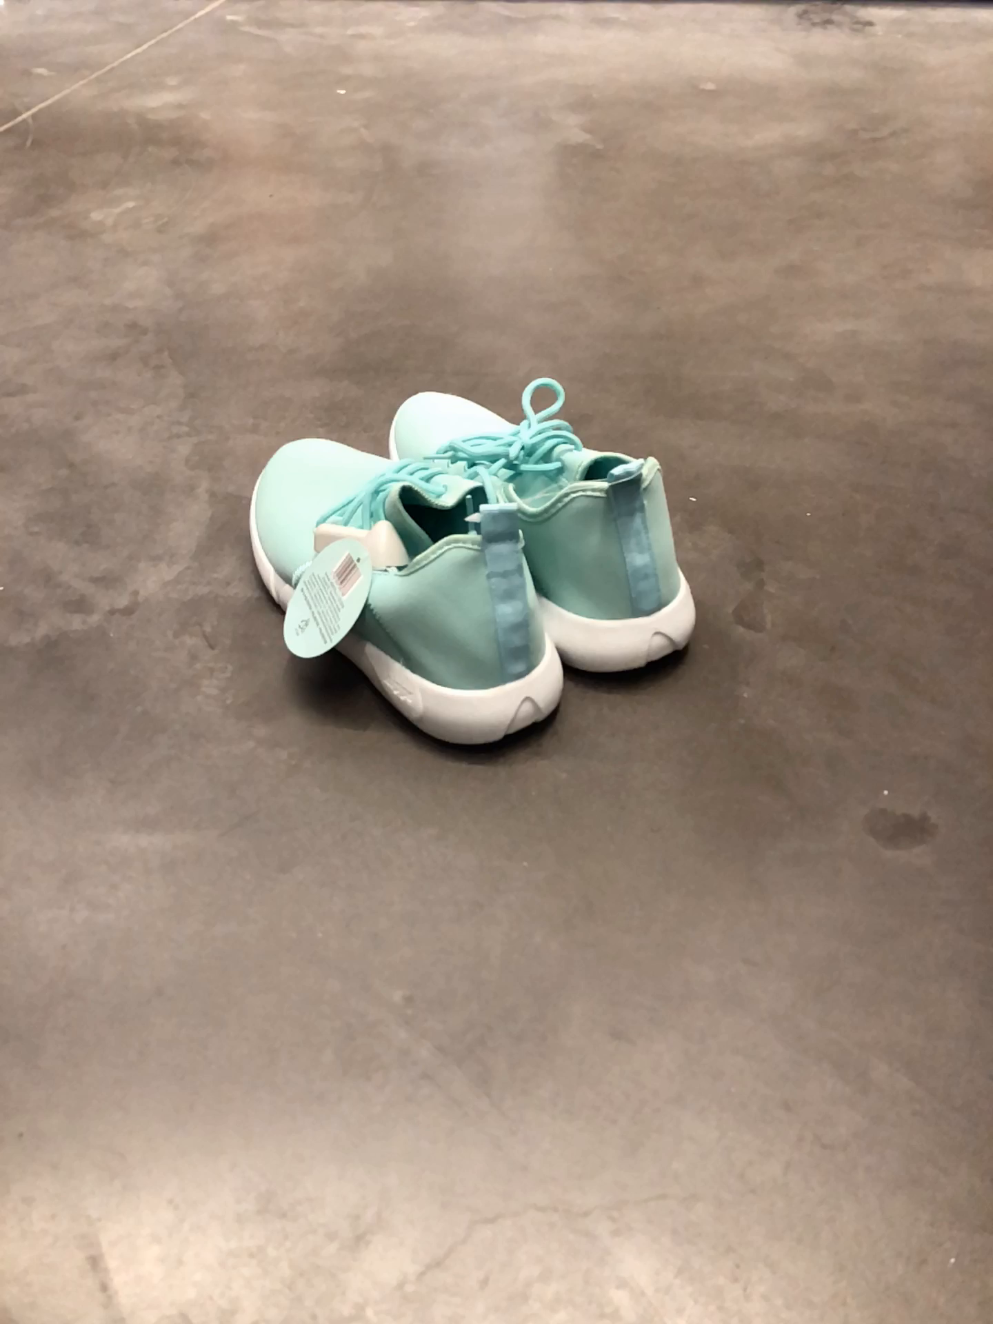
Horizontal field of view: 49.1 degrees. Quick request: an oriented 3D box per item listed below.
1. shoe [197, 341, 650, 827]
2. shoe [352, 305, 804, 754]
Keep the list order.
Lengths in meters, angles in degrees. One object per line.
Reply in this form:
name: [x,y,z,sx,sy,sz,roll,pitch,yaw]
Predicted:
shoe: [-0.043,-0.051,0.511,0.100,0.099,0.231,-23,45,-23]
shoe: [0.027,-0.079,0.540,0.100,0.099,0.231,-21,44,-22]
